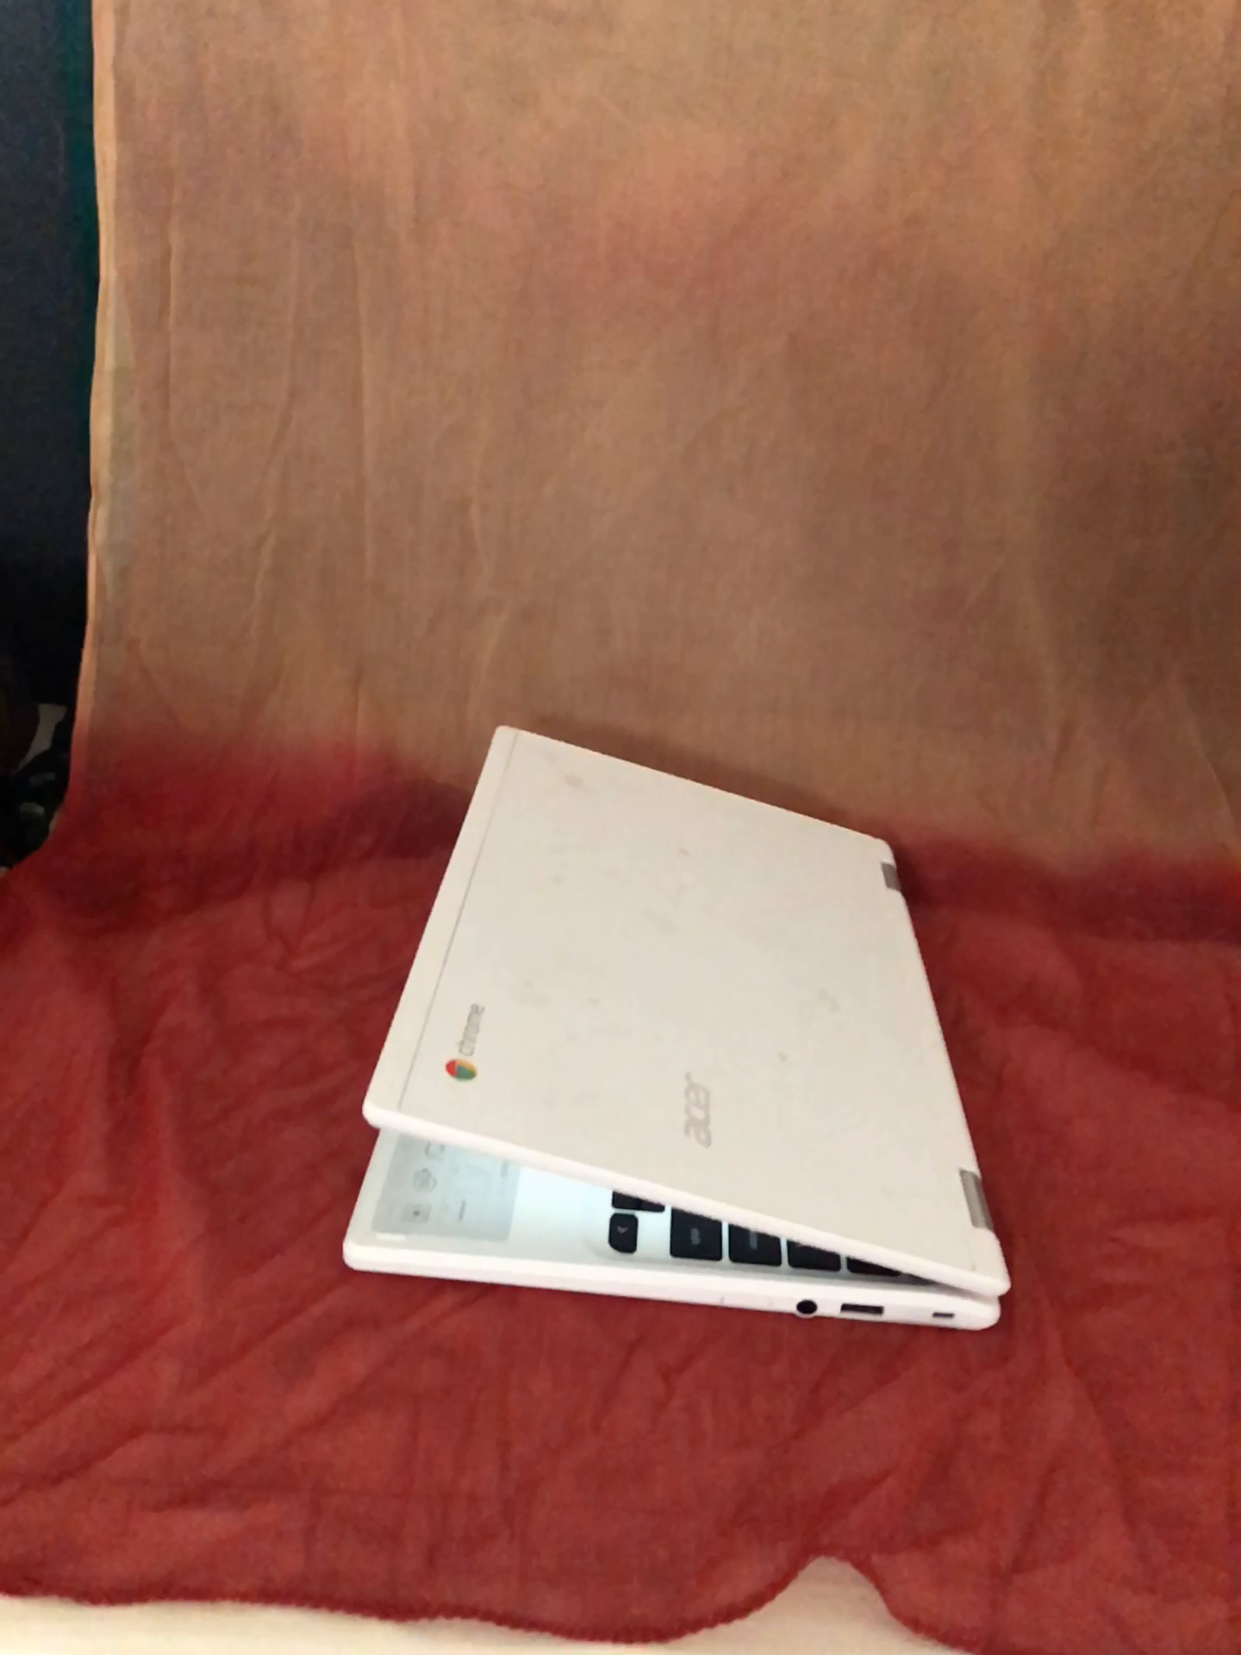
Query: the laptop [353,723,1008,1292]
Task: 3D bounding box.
[{"bbox_3d":[0.025,0.045,0.538,0.189,0.055,0.290,5,25,2],"label":"laptop"}]
